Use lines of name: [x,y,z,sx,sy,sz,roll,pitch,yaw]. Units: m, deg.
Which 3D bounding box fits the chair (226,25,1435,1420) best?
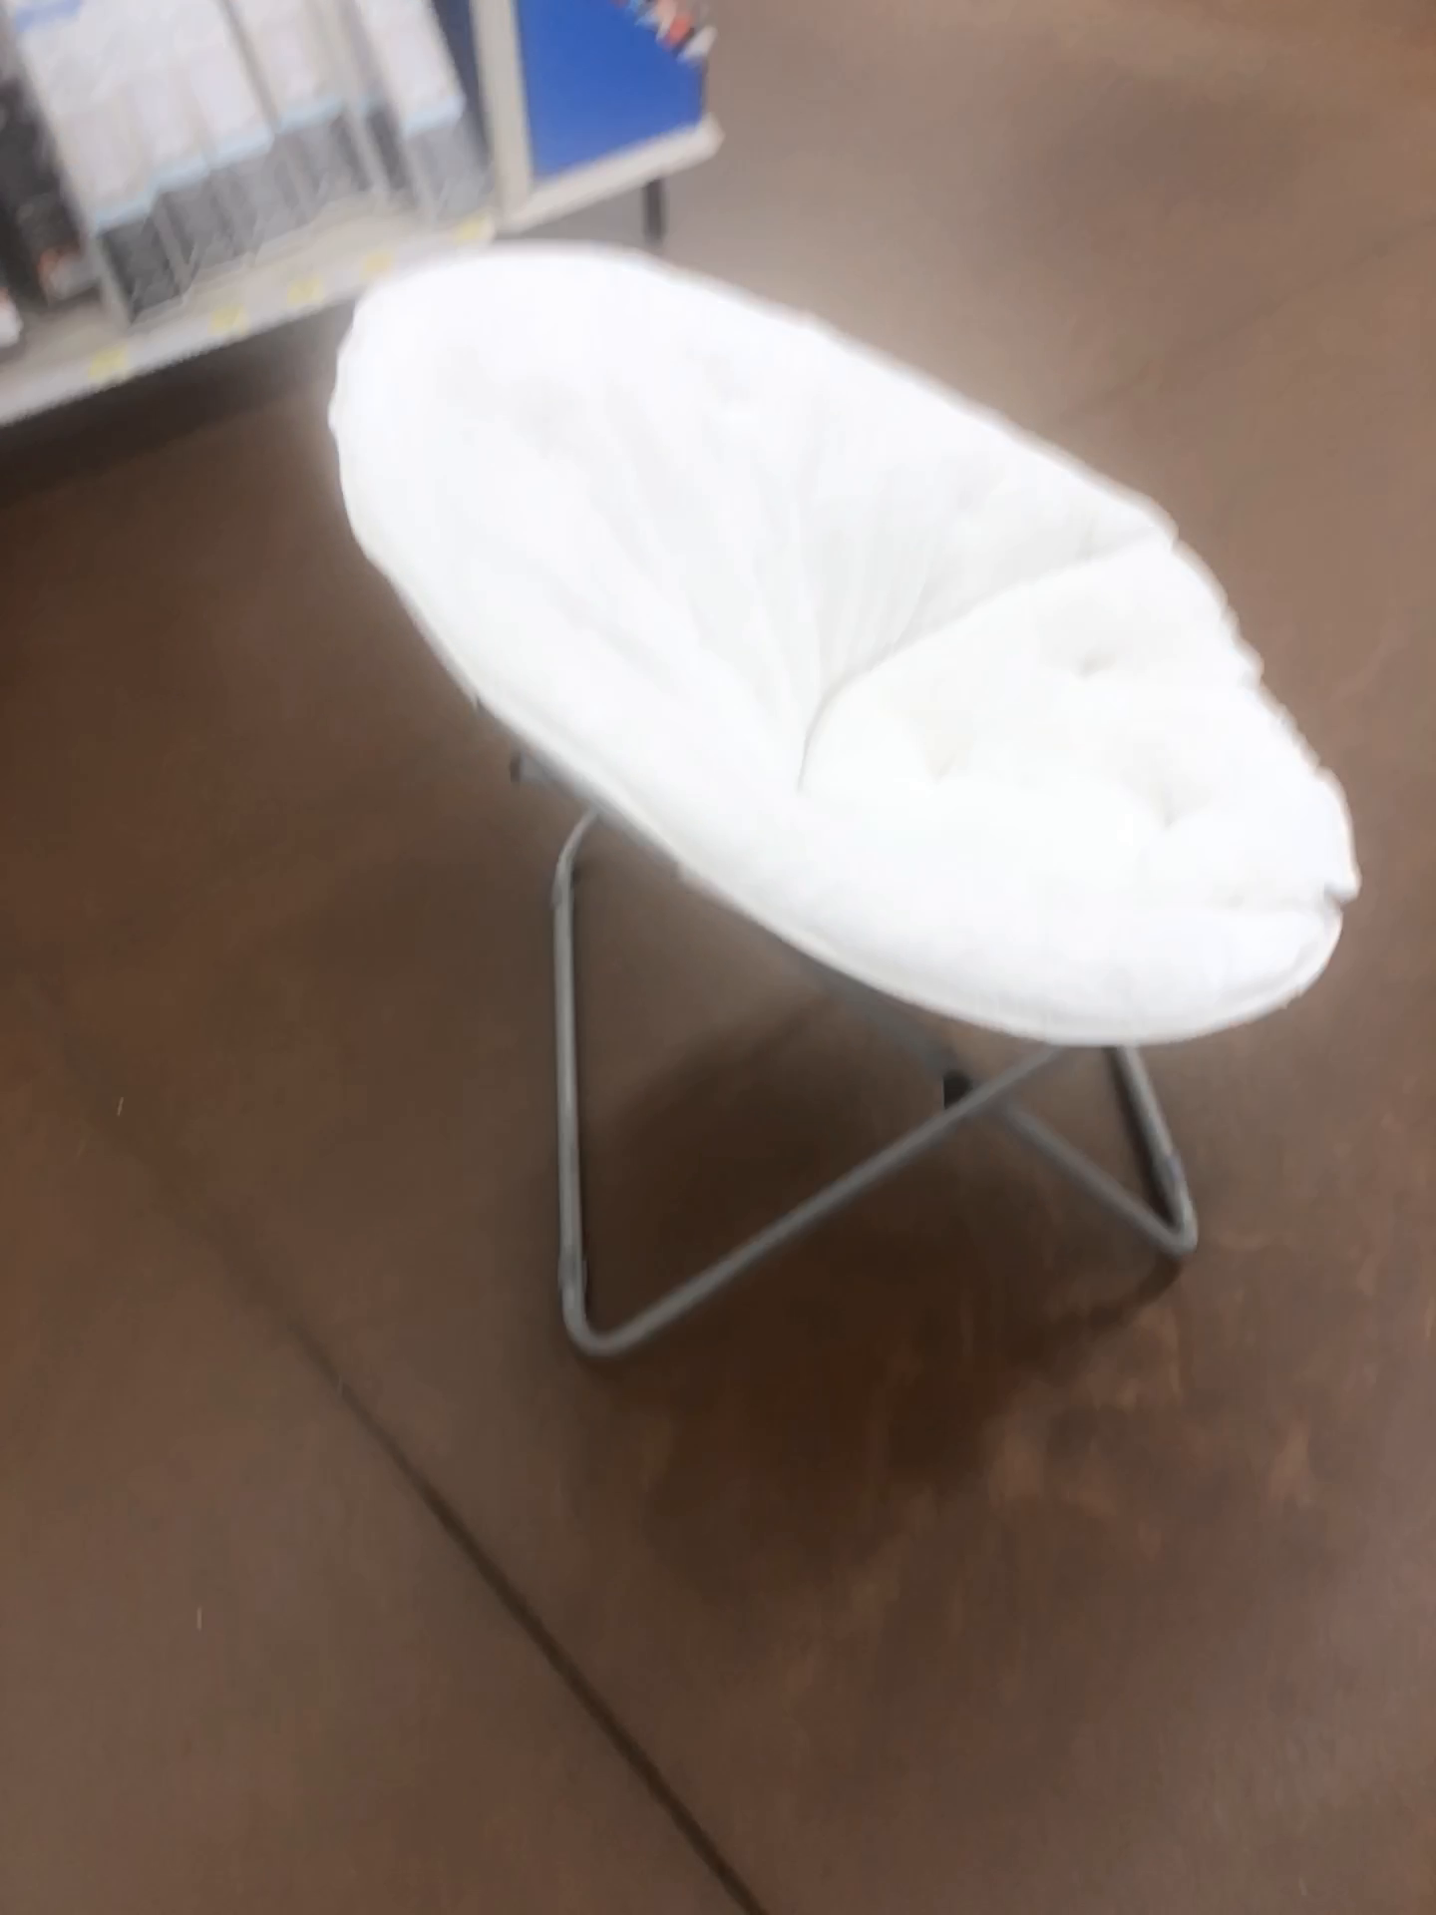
chair: [0.146,-0.192,1.180,0.750,0.648,0.763,-4,47,-2]
